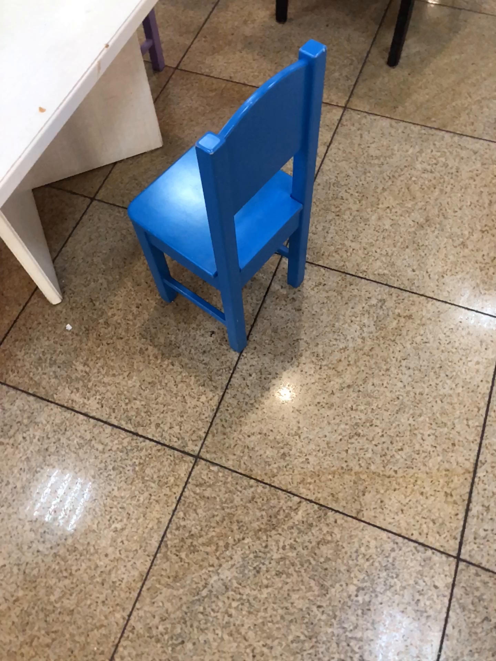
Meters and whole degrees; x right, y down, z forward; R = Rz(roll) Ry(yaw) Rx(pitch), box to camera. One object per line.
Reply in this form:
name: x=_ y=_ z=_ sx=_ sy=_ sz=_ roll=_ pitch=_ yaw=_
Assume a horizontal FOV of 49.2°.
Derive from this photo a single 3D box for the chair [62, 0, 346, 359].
chair: x=-0.053 y=-0.264 z=1.090 sx=0.300 sy=0.639 sz=0.300 roll=35 pitch=69 yaw=18
